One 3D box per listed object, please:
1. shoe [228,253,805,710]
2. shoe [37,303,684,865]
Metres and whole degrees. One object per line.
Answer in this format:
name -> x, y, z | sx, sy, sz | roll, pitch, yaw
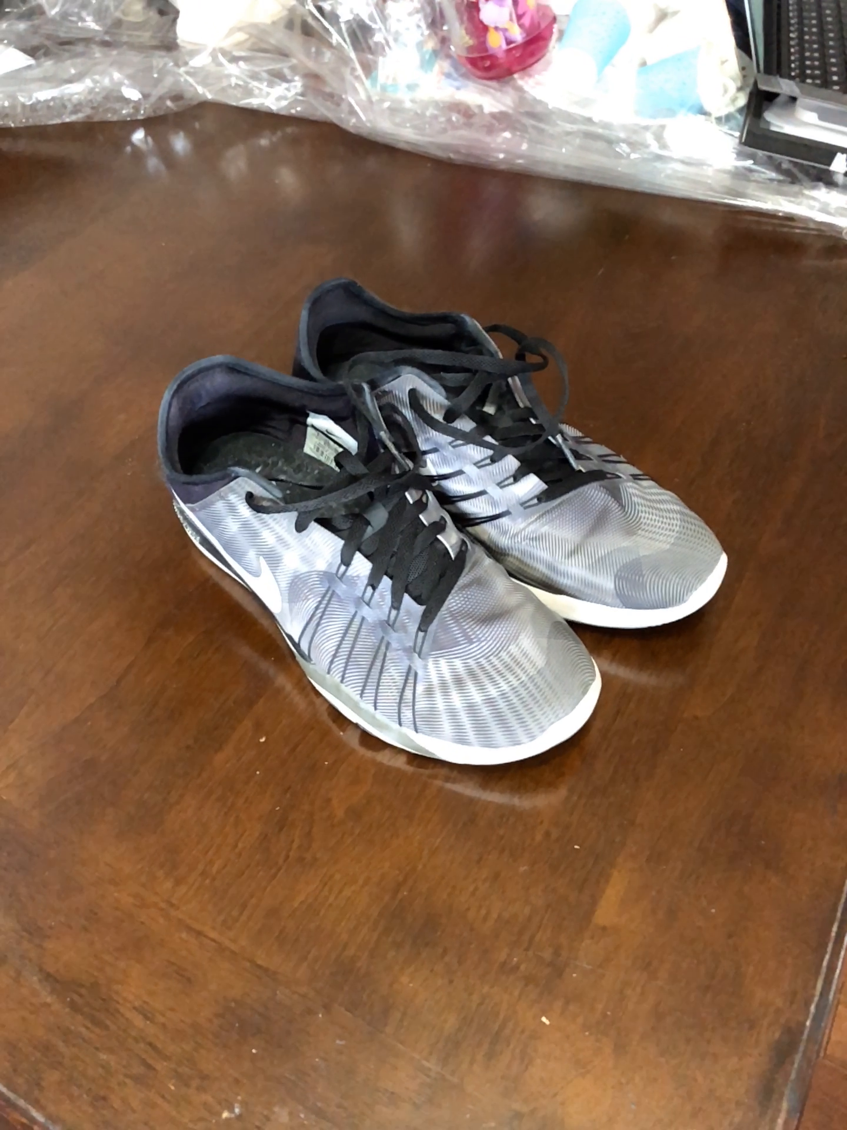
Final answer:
shoe -> 0.033, -0.049, 0.432 | 0.230, 0.080, 0.100 | 30, 58, 26
shoe -> -0.030, -0.004, 0.379 | 0.230, 0.090, 0.100 | 31, 58, 26
